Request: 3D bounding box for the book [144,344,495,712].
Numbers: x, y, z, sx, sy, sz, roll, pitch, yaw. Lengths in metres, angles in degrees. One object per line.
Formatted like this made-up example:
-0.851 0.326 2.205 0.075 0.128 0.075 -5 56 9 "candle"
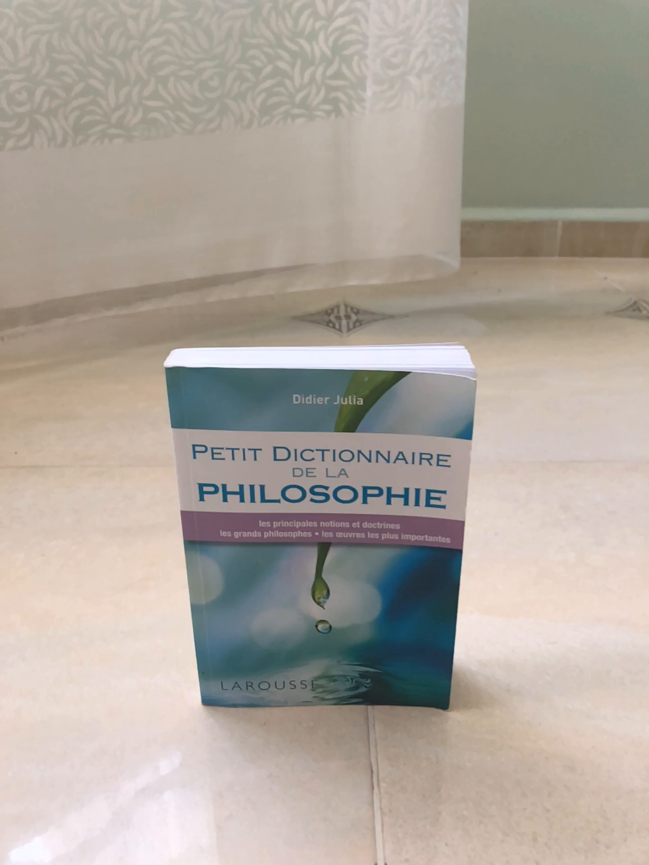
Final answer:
0.000 0.052 0.344 0.140 0.185 0.035 0 27 2 "book"
